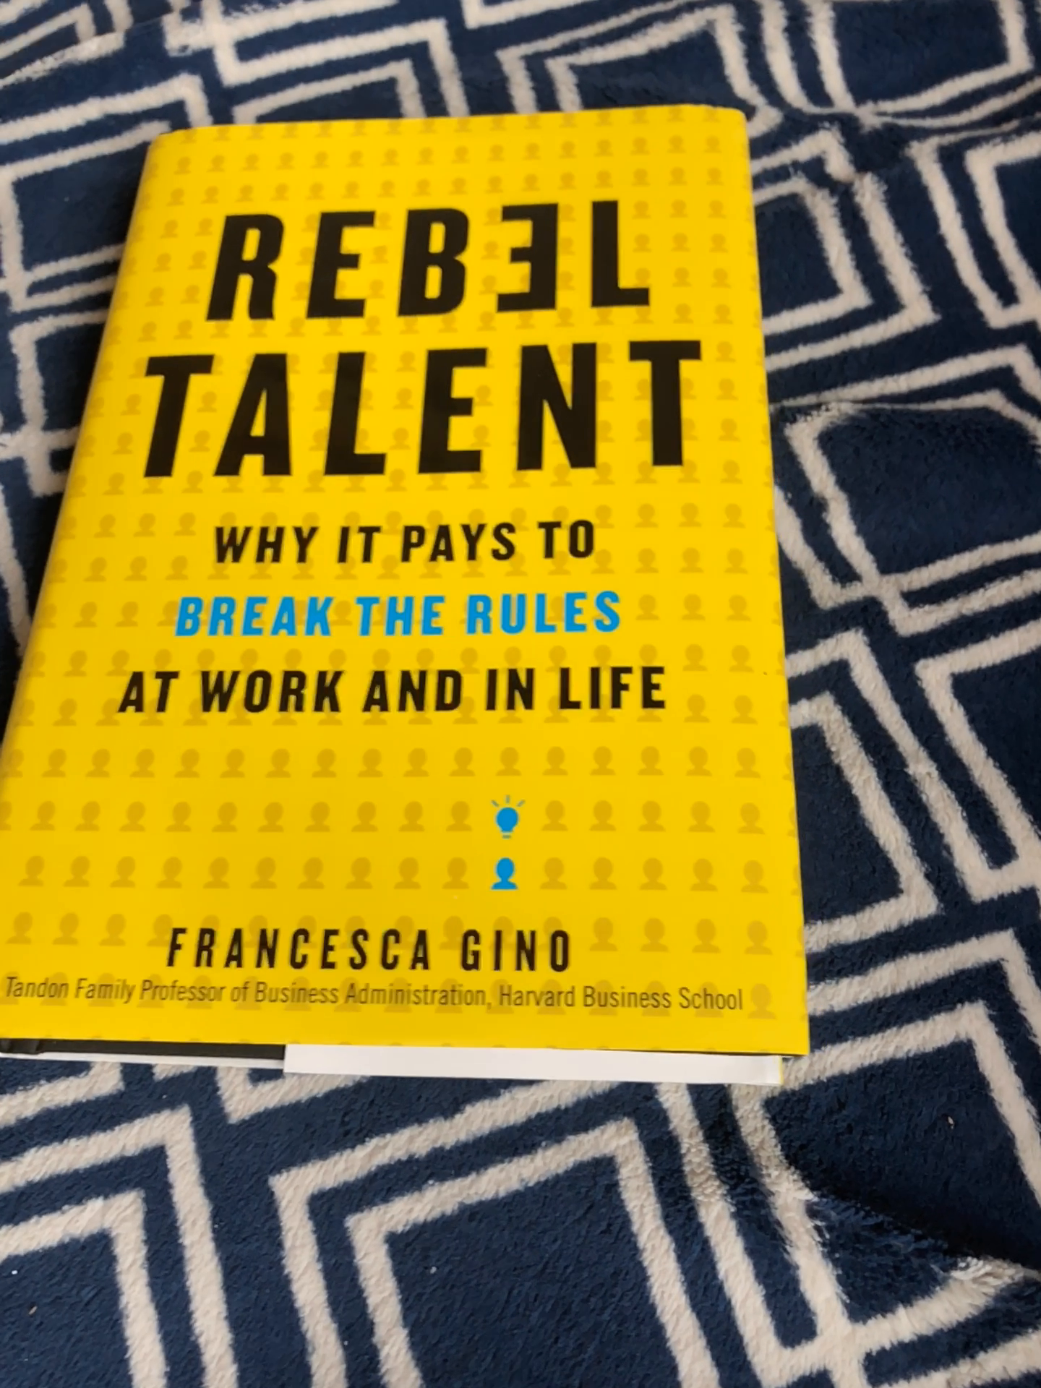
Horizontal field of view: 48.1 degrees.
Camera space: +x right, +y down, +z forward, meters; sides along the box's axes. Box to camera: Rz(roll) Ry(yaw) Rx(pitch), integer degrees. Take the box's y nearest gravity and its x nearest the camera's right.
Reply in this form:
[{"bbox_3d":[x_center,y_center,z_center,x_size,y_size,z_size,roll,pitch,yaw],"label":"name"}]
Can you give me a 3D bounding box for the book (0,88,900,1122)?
[{"bbox_3d":[-0.019,-0.036,0.255,0.167,0.032,0.237,0,64,4],"label":"book"}]
